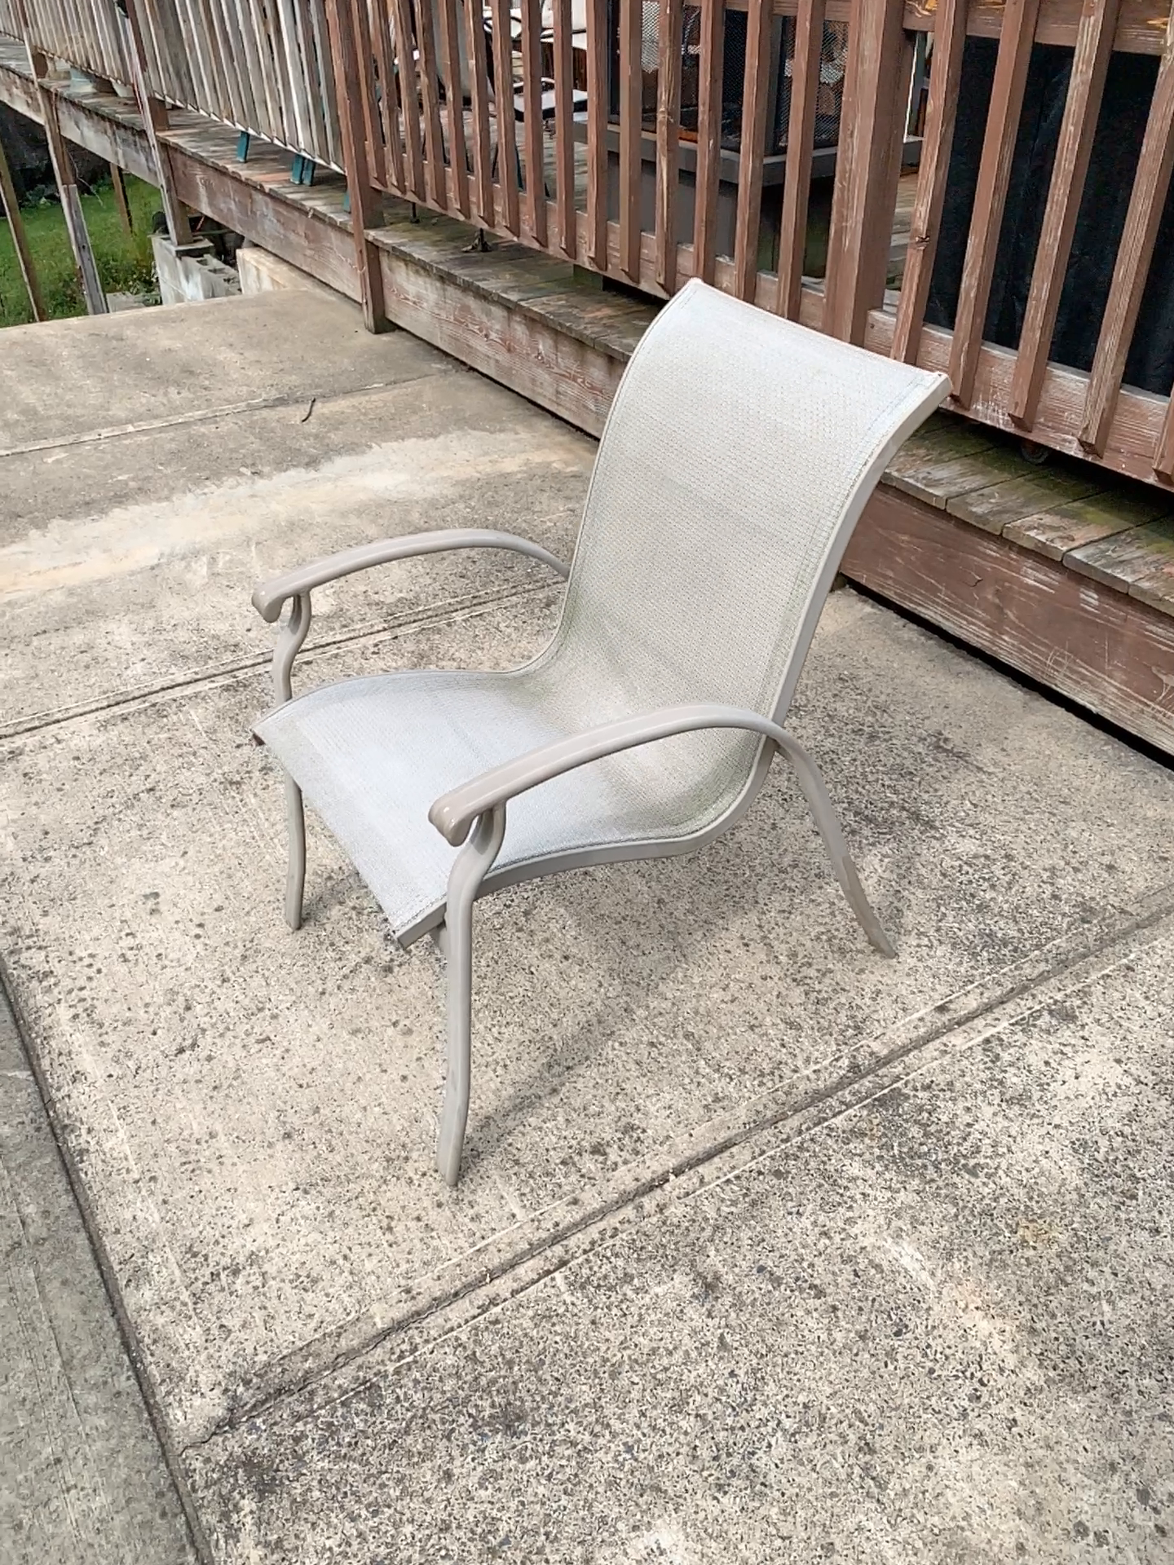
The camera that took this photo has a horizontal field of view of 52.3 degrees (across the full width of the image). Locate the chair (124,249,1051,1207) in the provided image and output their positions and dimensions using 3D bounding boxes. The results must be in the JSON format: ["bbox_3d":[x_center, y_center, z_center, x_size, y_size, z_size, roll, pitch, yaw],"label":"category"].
[{"bbox_3d":[-0.022,-0.126,1.558,0.791,0.845,0.653,-20,41,-25],"label":"chair"}]
